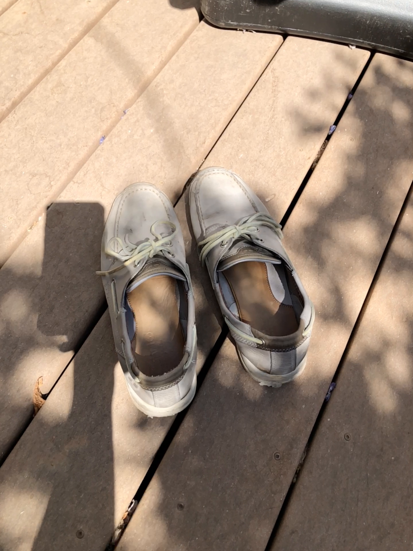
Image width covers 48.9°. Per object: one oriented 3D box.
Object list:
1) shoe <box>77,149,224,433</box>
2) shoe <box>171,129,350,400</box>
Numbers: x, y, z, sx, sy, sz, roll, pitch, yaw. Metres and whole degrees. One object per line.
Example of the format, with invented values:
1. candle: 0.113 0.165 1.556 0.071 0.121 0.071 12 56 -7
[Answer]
1. shoe: -0.068 0.006 0.501 0.109 0.076 0.294 -9 65 -8
2. shoe: 0.046 -0.022 0.523 0.109 0.076 0.294 -12 66 -9
